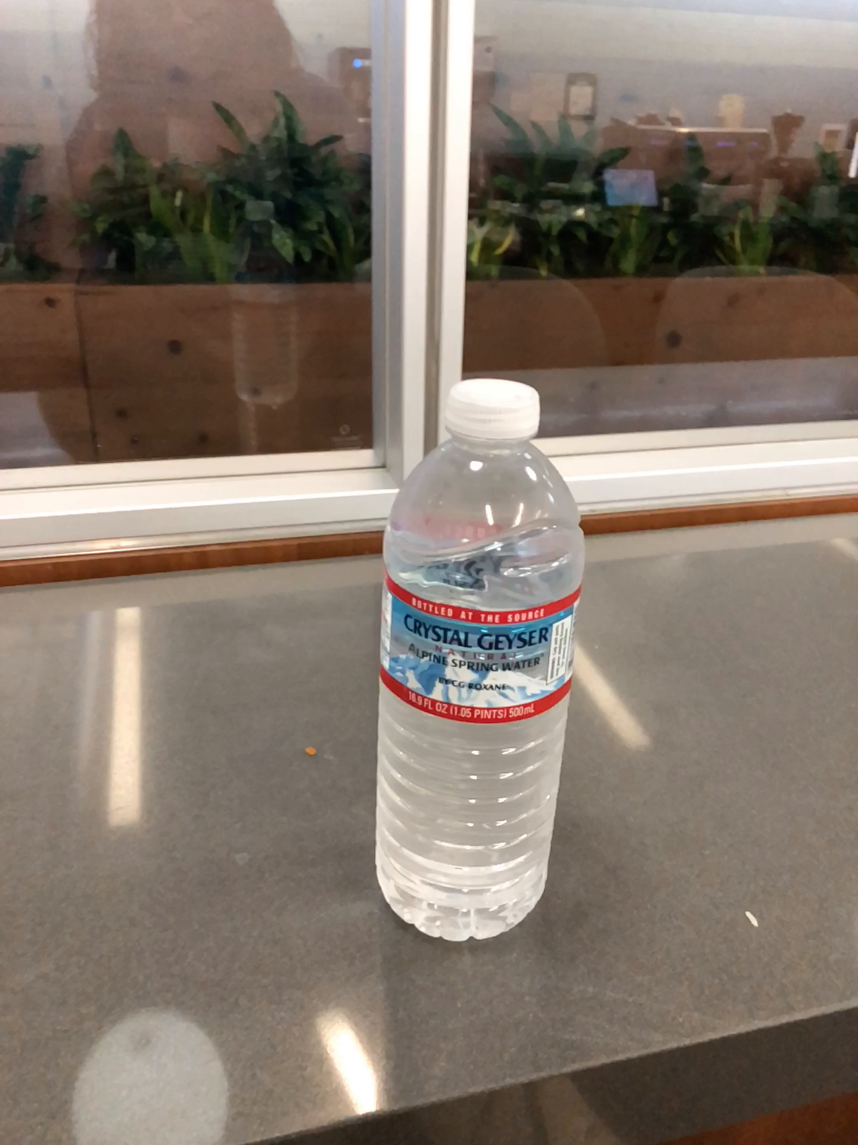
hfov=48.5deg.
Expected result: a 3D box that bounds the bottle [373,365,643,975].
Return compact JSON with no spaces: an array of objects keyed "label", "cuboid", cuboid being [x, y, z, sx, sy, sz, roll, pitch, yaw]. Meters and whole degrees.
[{"label":"bottle","cuboid":[0.021,0.034,0.319,0.070,0.189,0.070,1,24,0]}]
